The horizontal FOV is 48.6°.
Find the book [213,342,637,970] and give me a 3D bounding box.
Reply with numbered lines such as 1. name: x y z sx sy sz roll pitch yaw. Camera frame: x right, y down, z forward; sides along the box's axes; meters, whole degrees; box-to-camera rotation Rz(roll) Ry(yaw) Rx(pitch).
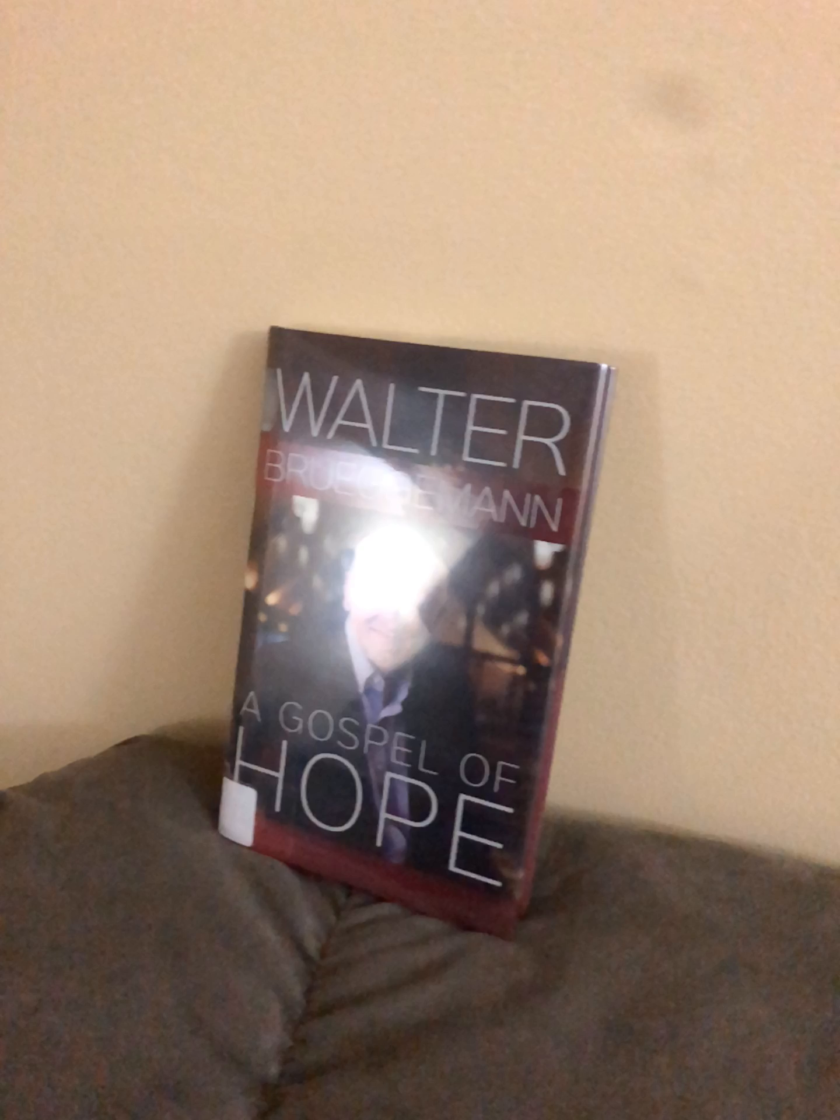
1. book: -0.005 0.029 0.360 0.141 0.210 0.027 11 8 26
